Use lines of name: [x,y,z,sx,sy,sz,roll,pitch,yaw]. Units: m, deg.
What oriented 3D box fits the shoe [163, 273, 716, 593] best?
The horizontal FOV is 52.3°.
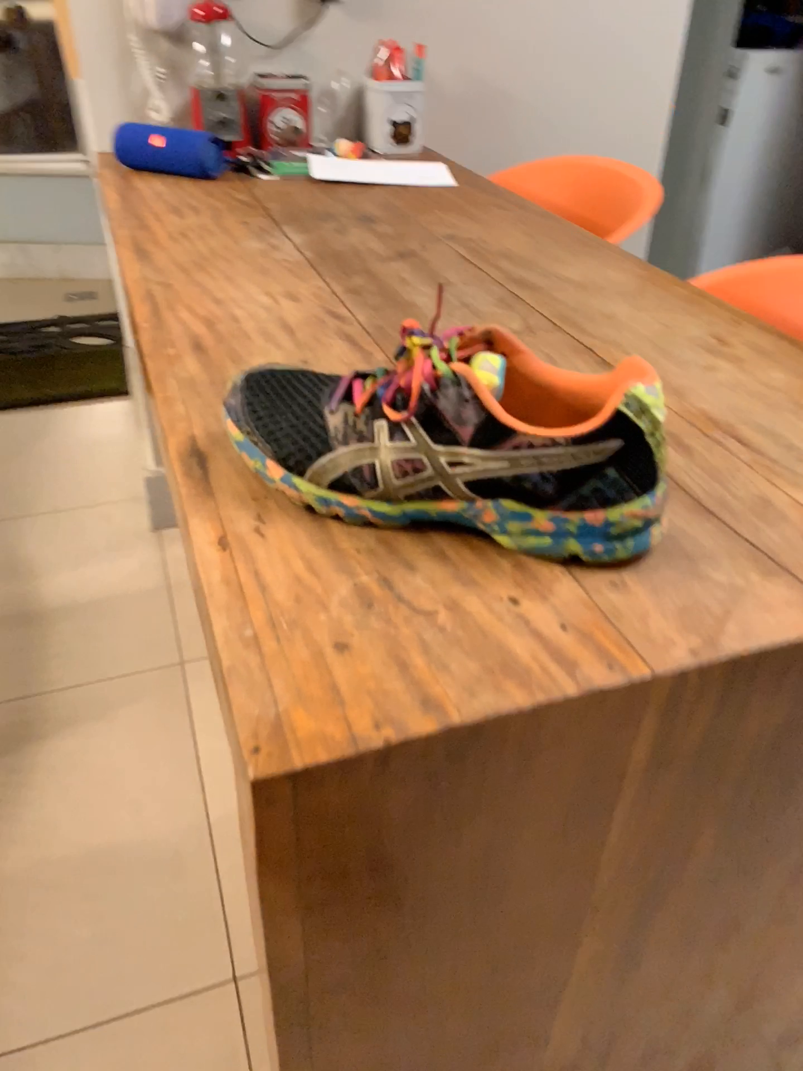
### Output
shoe: [0.021,-0.075,0.520,0.313,0.112,0.108,13,37,16]
